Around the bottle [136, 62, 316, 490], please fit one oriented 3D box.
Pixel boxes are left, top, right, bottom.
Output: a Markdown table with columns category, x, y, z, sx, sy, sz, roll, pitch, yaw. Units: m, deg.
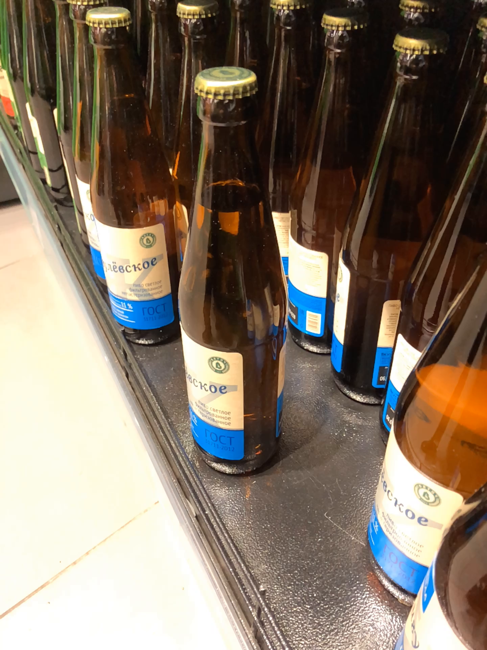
| category | x | y | z | sx | sy | sz | roll | pitch | yaw |
| --- | --- | --- | --- | --- | --- | --- | --- | --- | --- |
| bottle | -0.006 | -0.008 | 0.315 | 0.070 | 0.249 | 0.070 | -2 | 41 | 2 |
